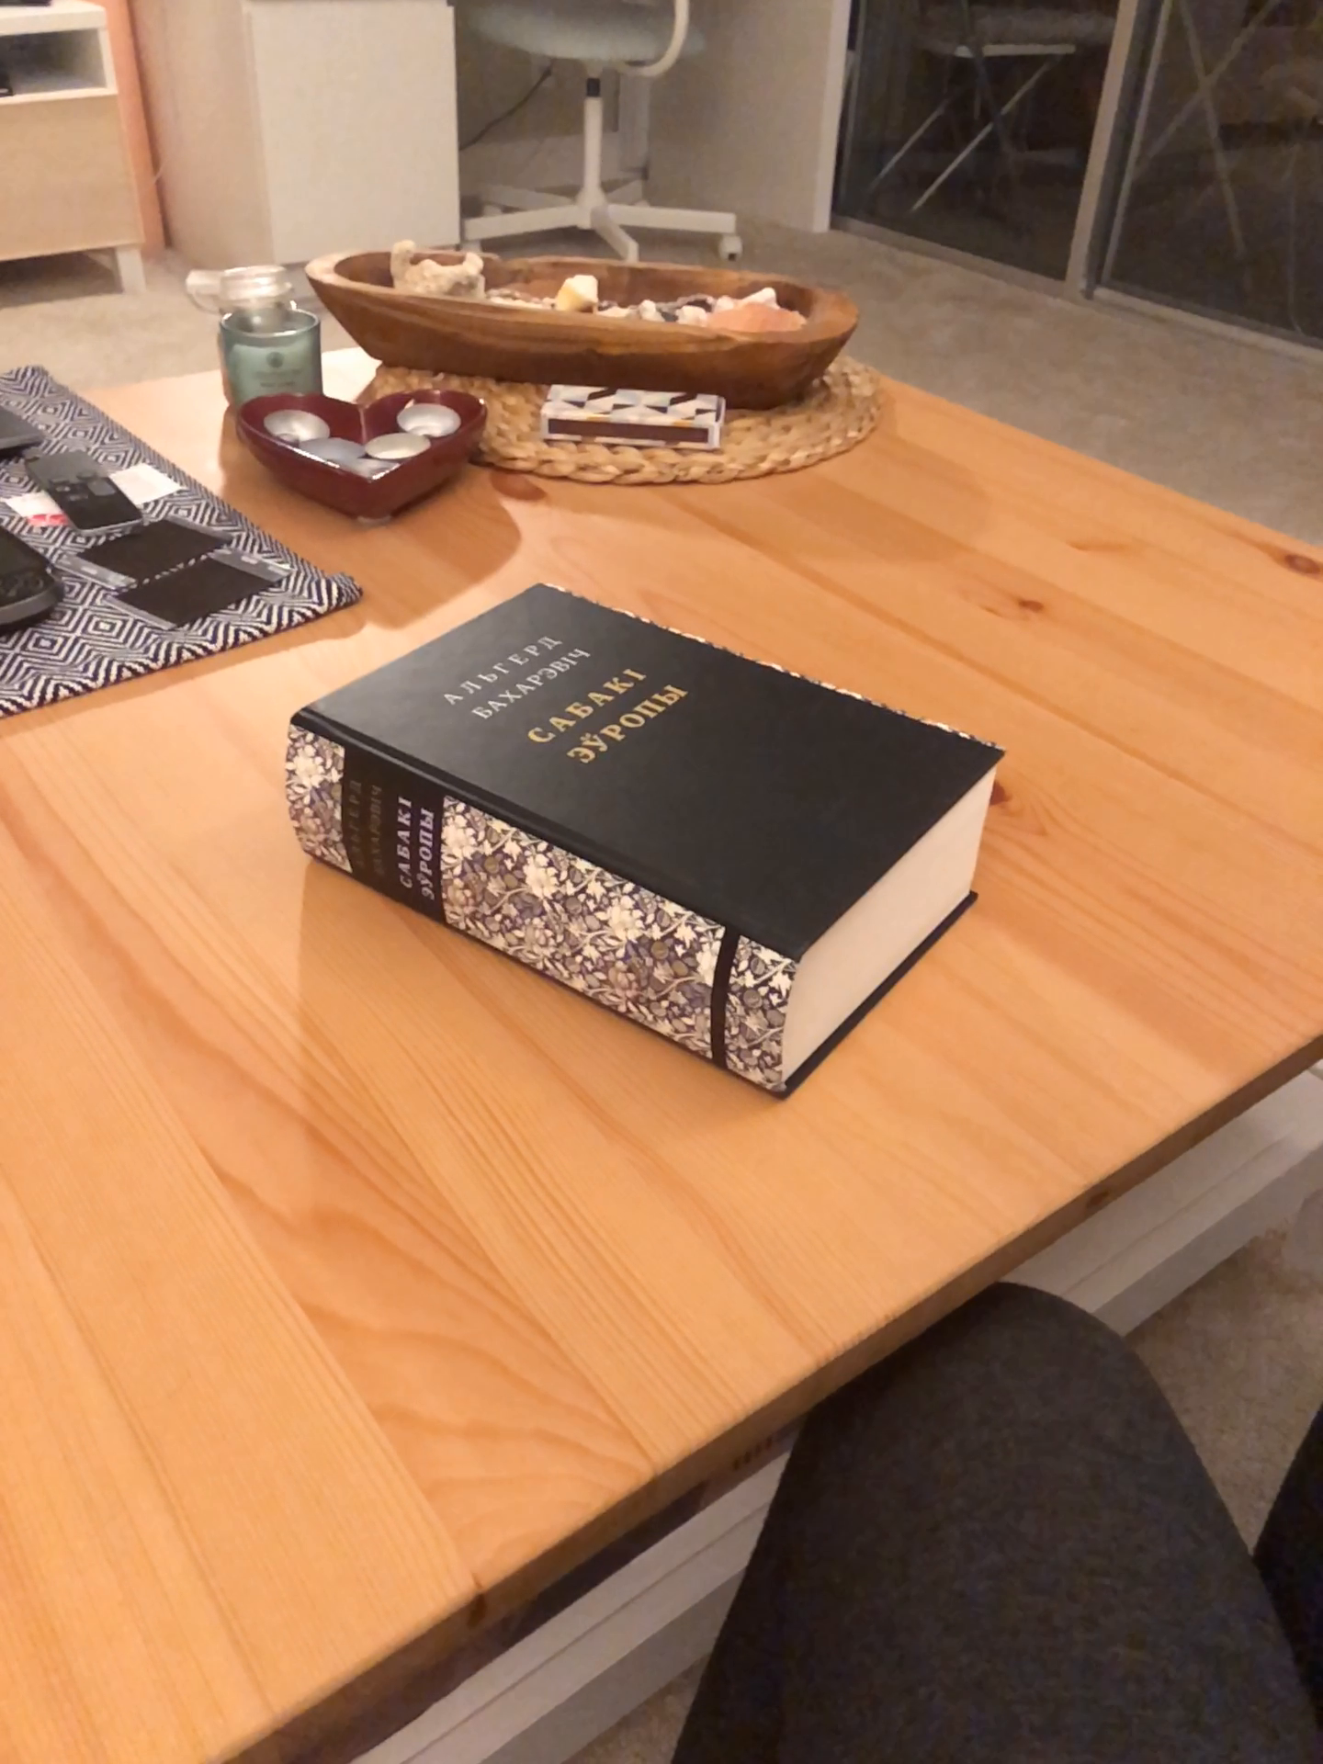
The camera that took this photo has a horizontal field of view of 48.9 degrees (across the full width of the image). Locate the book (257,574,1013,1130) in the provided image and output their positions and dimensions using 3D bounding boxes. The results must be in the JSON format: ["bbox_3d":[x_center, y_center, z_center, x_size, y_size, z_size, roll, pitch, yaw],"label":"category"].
[{"bbox_3d":[-0.010,-0.027,0.553,0.229,0.061,0.158,26,44,26],"label":"book"}]
